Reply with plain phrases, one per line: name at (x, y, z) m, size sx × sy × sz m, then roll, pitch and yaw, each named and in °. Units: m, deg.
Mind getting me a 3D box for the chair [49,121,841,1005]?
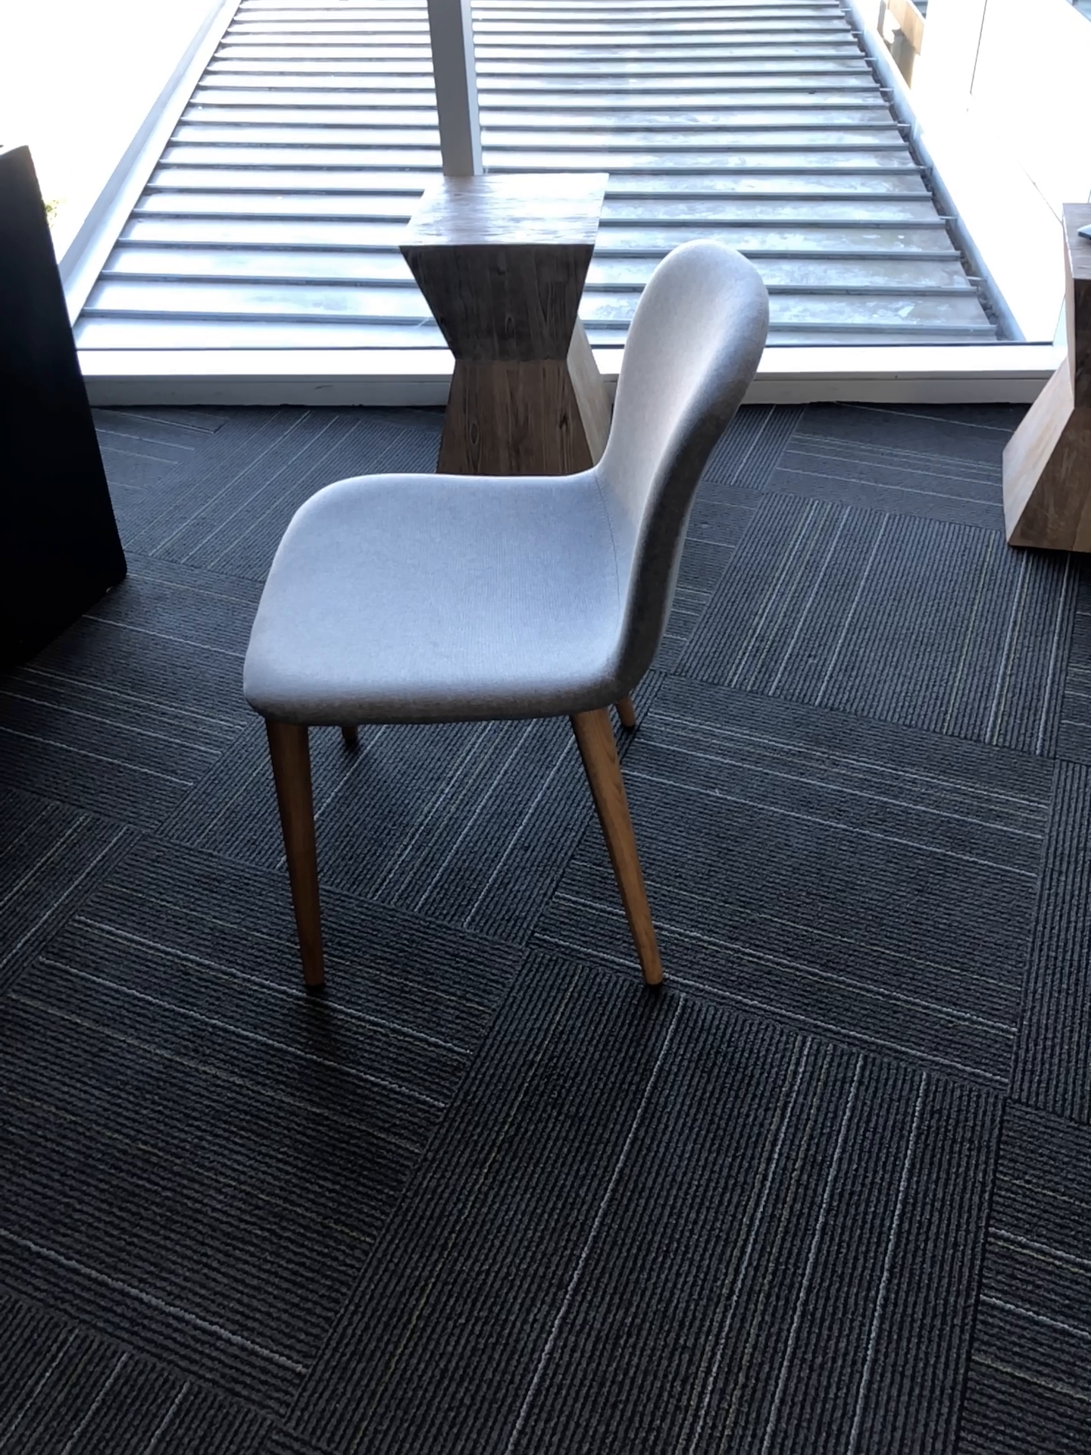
chair at (-0.079, -0.172, 1.413) m, size 0.610 × 0.846 × 0.563 m, roll 1°, pitch 41°, yaw 0°
